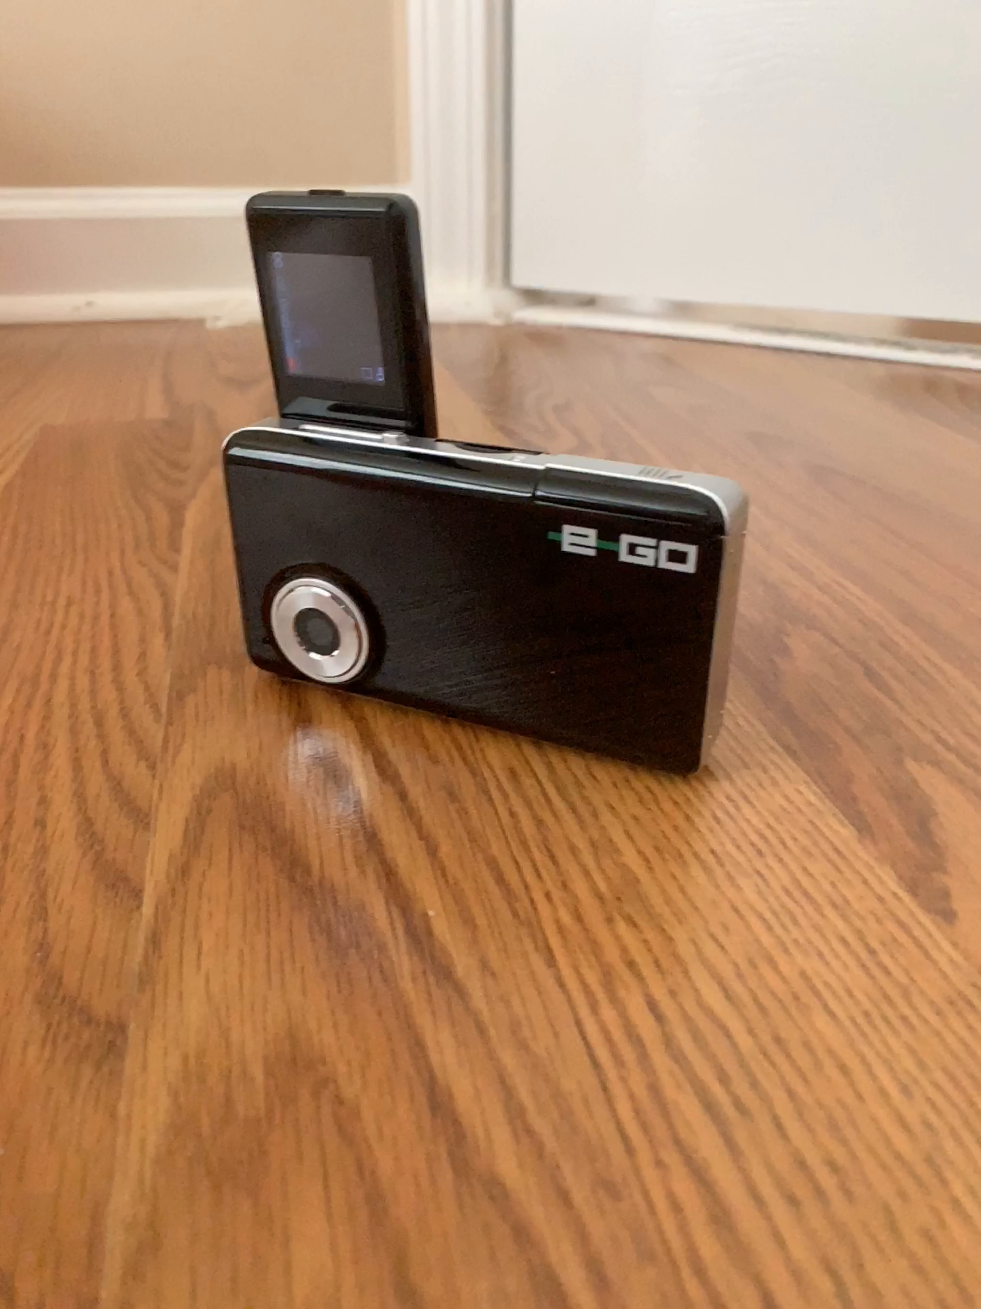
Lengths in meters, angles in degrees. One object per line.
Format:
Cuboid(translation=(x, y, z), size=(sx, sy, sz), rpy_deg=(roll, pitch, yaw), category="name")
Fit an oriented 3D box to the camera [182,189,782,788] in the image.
Cuboid(translation=(-0.006, -0.038, 0.221), size=(0.119, 0.111, 0.022), rpy_deg=(12, 28, 24), category="camera")
